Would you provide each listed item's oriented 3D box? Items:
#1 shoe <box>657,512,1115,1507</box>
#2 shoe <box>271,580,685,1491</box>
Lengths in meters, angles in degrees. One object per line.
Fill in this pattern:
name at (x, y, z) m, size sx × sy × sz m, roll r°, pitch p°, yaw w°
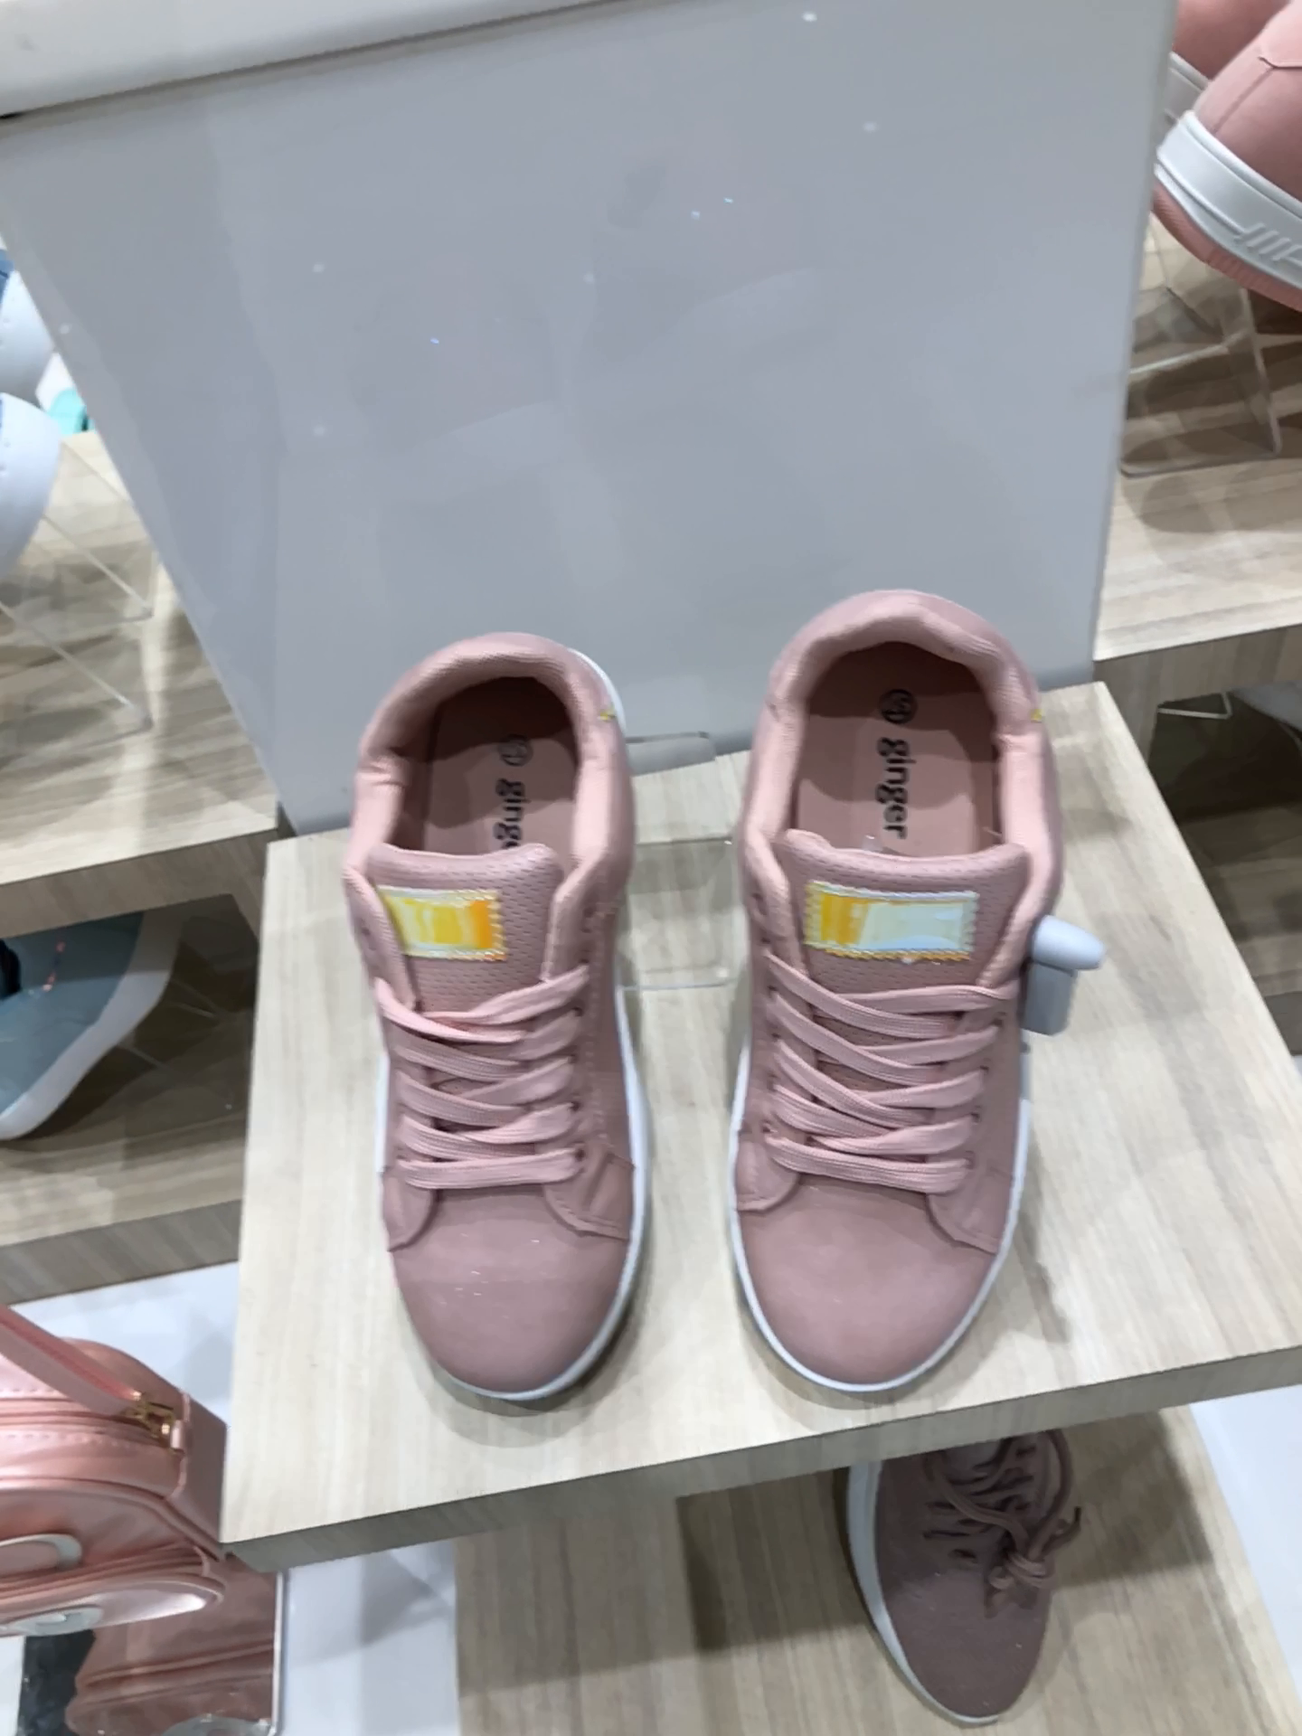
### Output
shoe at (0.073, 0.036, 0.440) m, size 0.099 × 0.094 × 0.261 m, roll 6°, pitch 88°, yaw 12°
shoe at (-0.050, 0.047, 0.454) m, size 0.103 × 0.094 × 0.252 m, roll -1°, pitch 89°, yaw 10°
